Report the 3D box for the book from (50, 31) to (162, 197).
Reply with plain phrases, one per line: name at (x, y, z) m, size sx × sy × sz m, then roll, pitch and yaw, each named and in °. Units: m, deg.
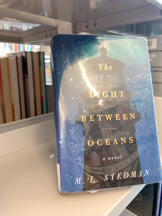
book at (0.037, 0.001, 0.263) m, size 0.155 × 0.225 × 0.042 m, roll -3°, pitch -6°, yaw -10°
